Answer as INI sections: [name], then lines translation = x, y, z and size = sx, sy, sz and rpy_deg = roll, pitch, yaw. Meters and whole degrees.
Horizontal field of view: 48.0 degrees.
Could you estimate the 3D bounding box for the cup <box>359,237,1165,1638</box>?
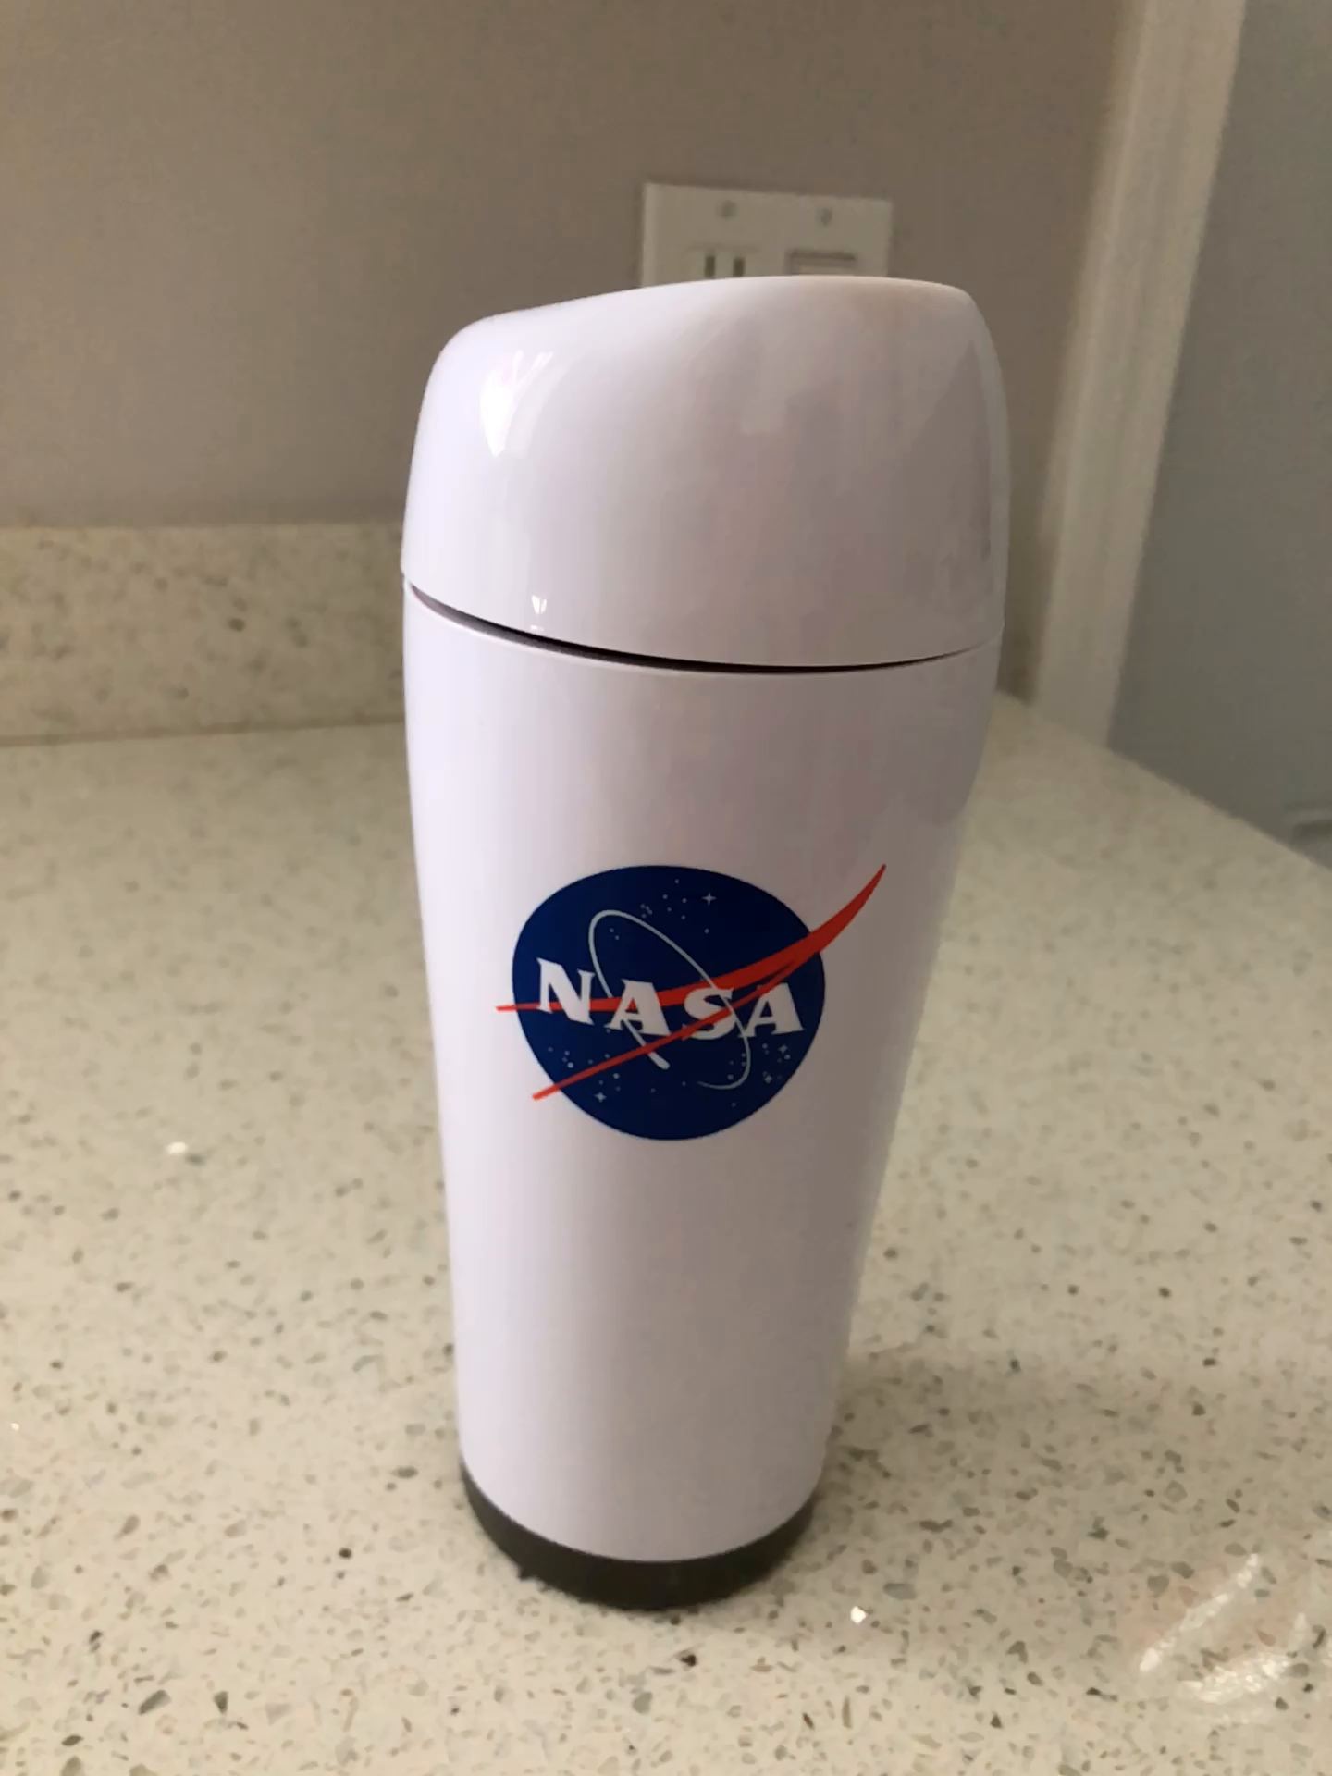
[cup]
translation = 0.006, 0.007, 0.219
size = 0.078, 0.182, 0.081
rpy_deg = 3, 25, -1
